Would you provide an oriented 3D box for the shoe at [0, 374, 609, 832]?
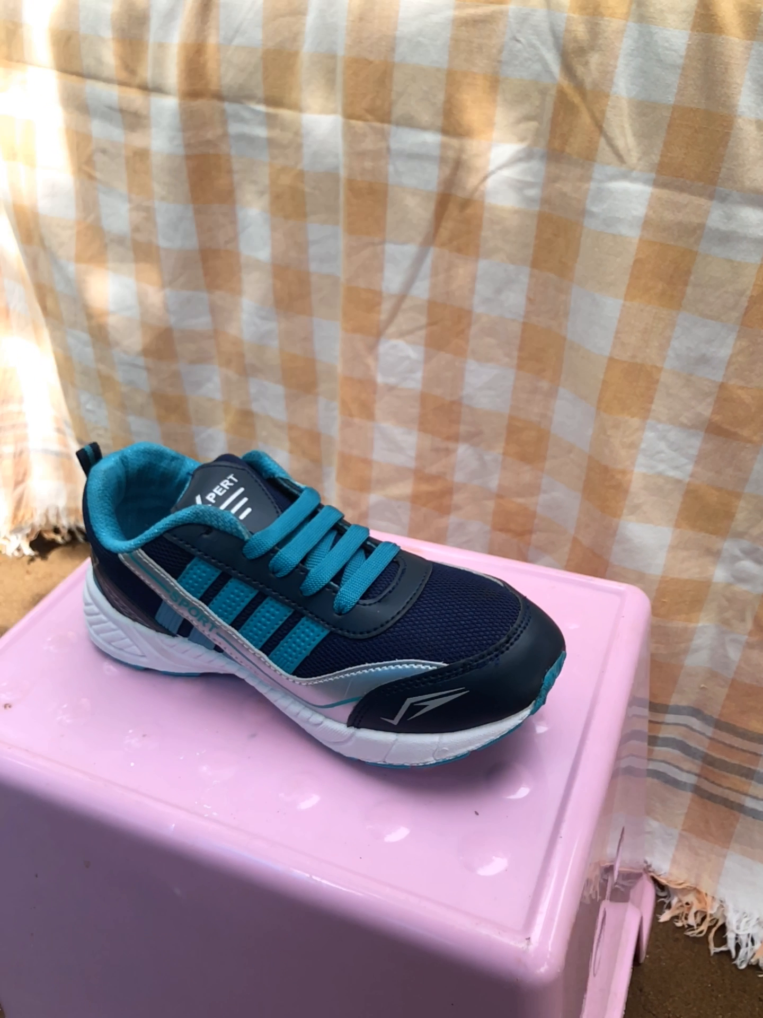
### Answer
[{"bbox_3d":[-0.042,0.032,0.426,0.270,0.109,0.111,16,39,22],"label":"shoe"}]
